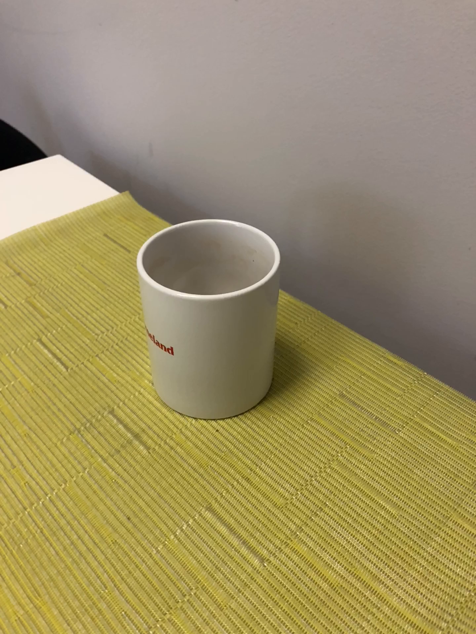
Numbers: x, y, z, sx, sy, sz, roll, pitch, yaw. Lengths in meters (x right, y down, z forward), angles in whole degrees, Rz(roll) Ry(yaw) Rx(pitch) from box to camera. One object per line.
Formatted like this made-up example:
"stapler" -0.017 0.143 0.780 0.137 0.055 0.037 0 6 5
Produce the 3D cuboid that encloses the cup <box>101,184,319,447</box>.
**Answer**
"cup" -0.023 -0.007 0.332 0.089 0.100 0.114 -13 41 -19
